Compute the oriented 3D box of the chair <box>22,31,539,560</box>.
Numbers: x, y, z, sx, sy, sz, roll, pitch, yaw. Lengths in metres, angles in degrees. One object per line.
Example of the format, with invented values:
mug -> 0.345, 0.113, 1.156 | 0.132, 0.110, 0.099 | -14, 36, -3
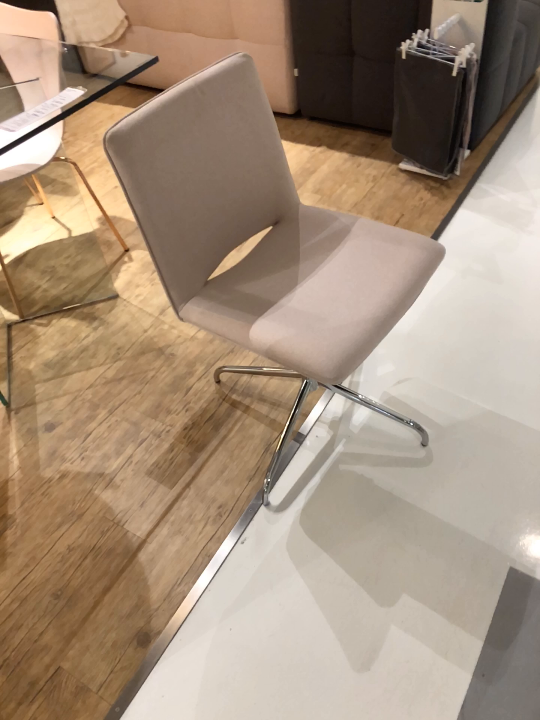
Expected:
chair -> 0.070, -0.163, 1.279 | 0.631, 0.745, 0.653 | 23, 53, 27
